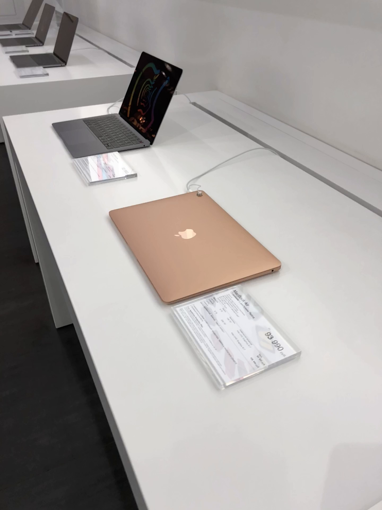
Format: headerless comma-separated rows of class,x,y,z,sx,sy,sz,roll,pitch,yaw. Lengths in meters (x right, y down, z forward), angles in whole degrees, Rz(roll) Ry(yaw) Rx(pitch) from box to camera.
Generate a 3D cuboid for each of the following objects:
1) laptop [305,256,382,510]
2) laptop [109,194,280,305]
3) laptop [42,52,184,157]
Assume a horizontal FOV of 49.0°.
laptop,0.287,0.218,0.215,0.257,0.213,0.347,-17,39,-23
laptop,-0.009,-0.029,0.759,0.201,0.005,0.294,-16,37,-20
laptop,-0.224,-0.443,1.197,0.312,0.180,0.304,-16,37,-20
